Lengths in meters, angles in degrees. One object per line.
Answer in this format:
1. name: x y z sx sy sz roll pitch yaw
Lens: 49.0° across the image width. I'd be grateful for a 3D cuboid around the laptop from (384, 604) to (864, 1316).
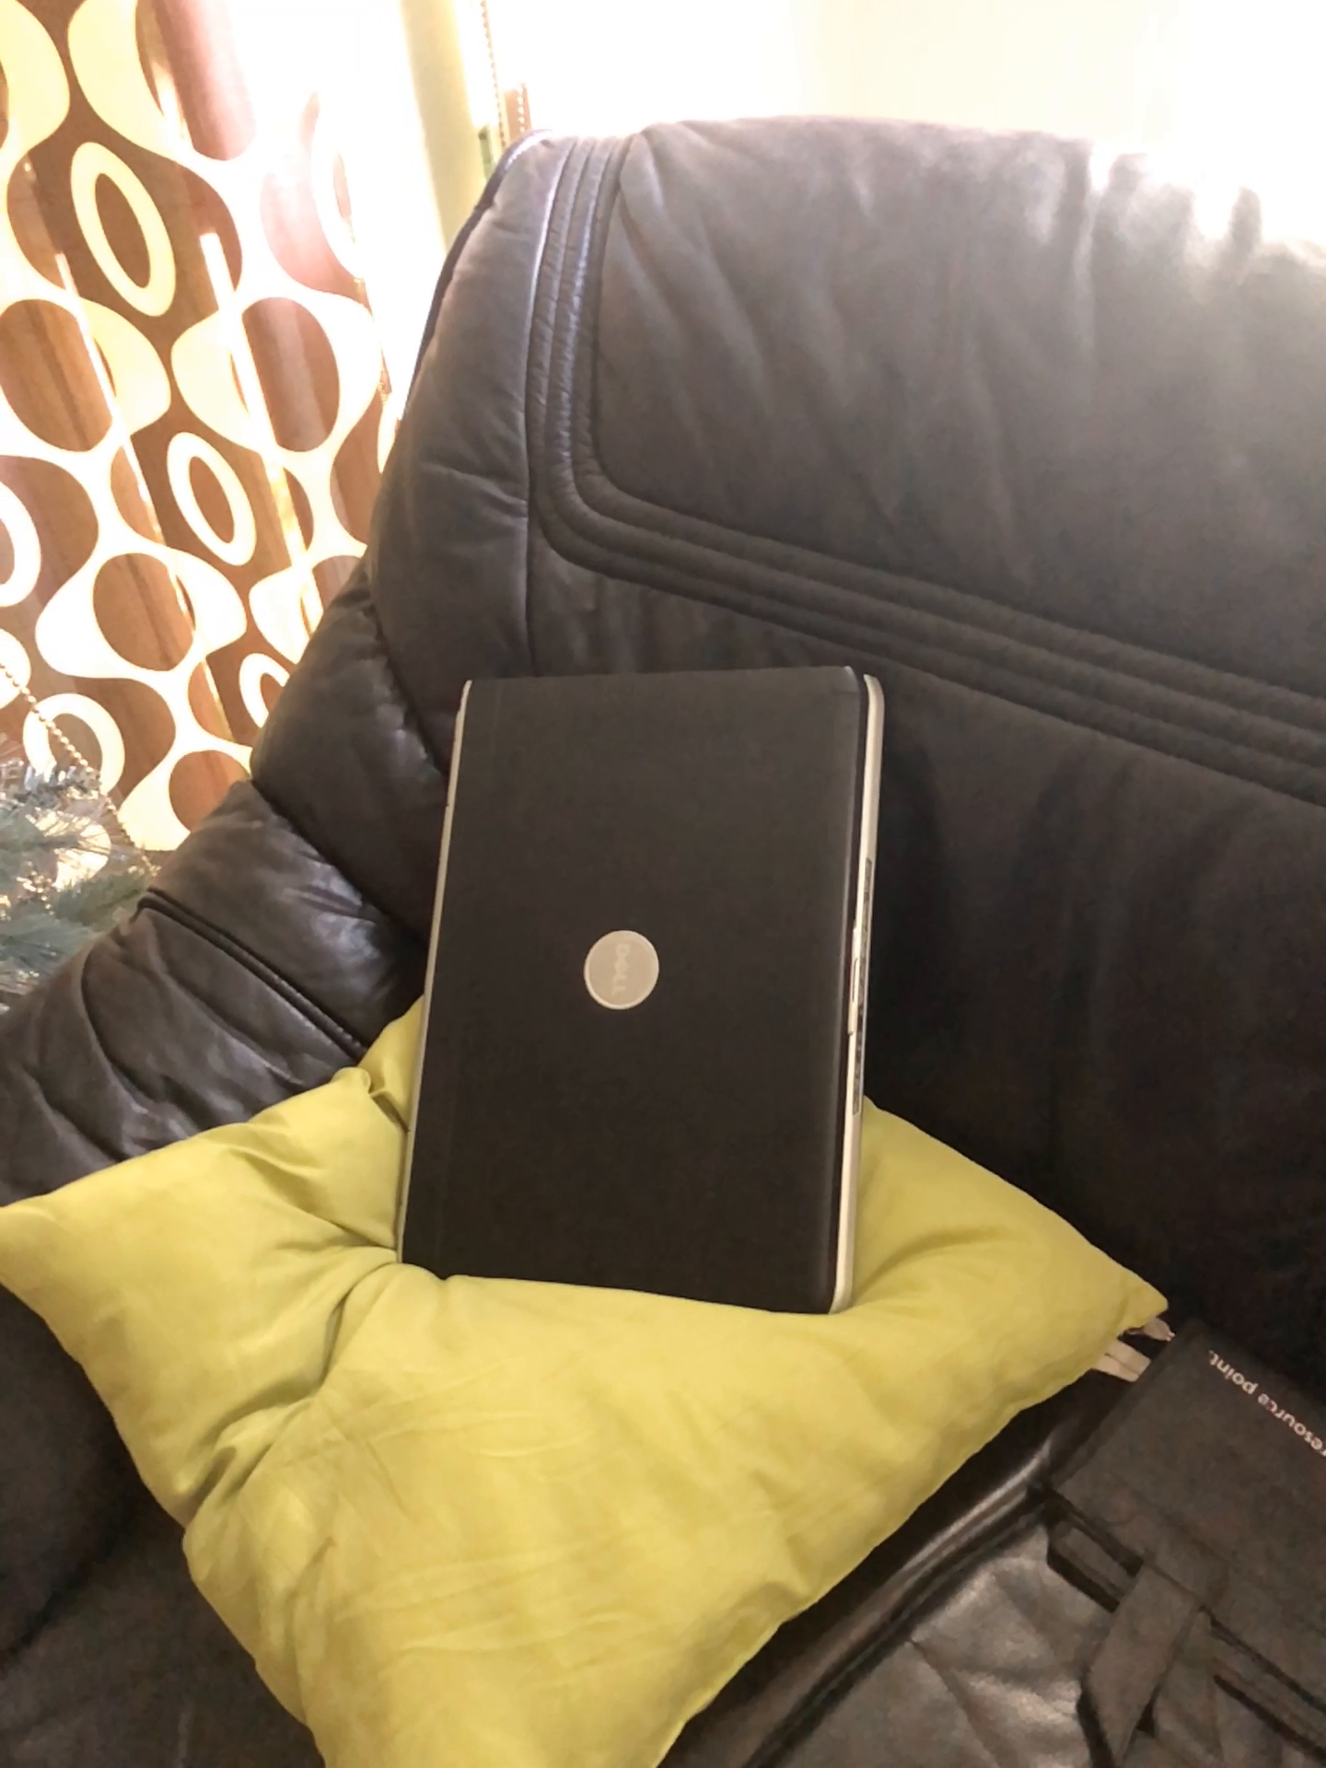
1. laptop: -0.021 0.032 0.798 0.247 0.033 0.345 1 78 21
